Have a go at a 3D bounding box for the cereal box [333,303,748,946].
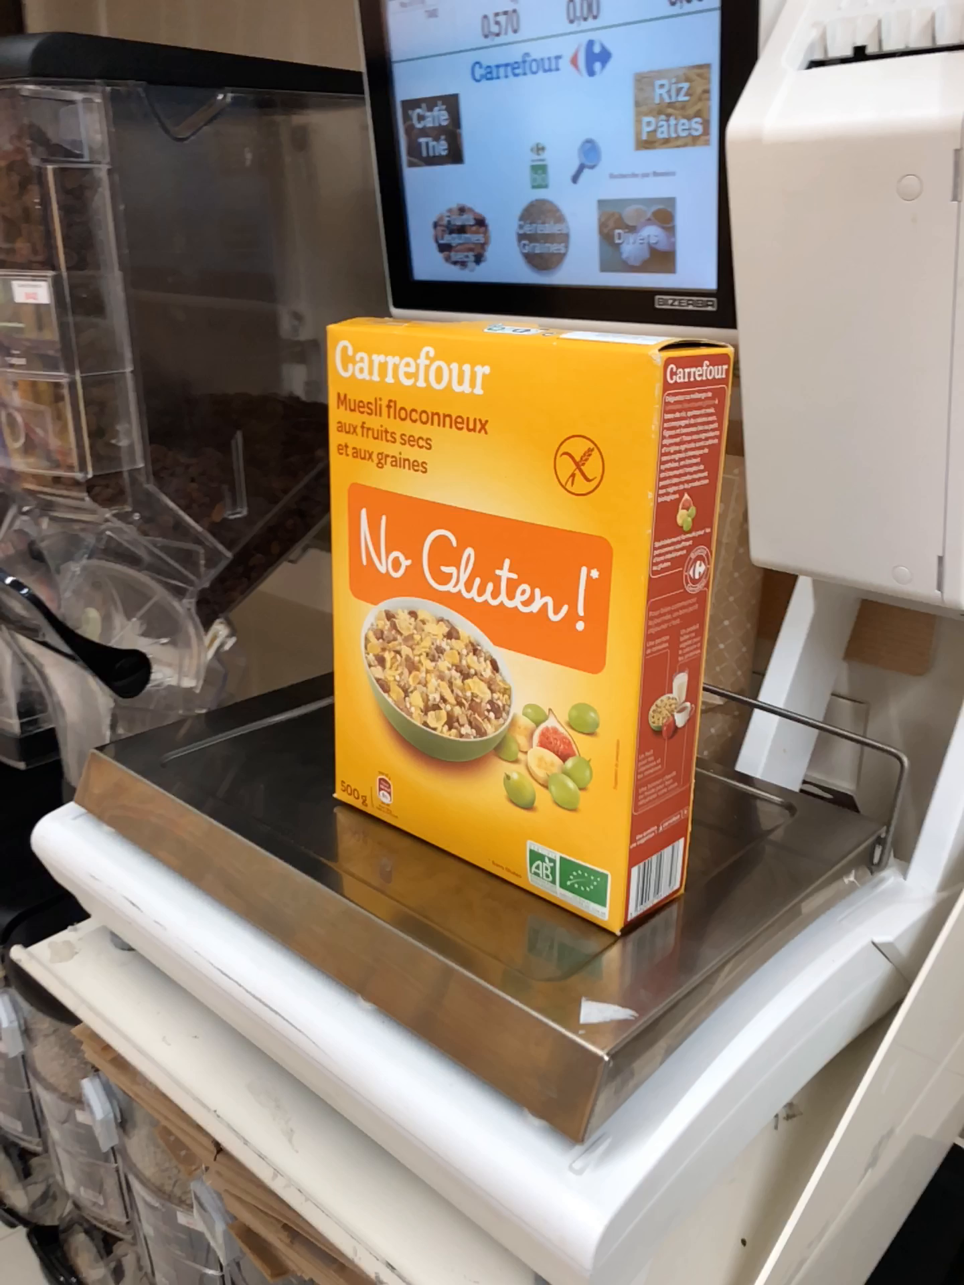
[{"bbox_3d":[0.014,-0.019,0.497,0.190,0.259,0.050,18,25,39],"label":"cereal box"}]
